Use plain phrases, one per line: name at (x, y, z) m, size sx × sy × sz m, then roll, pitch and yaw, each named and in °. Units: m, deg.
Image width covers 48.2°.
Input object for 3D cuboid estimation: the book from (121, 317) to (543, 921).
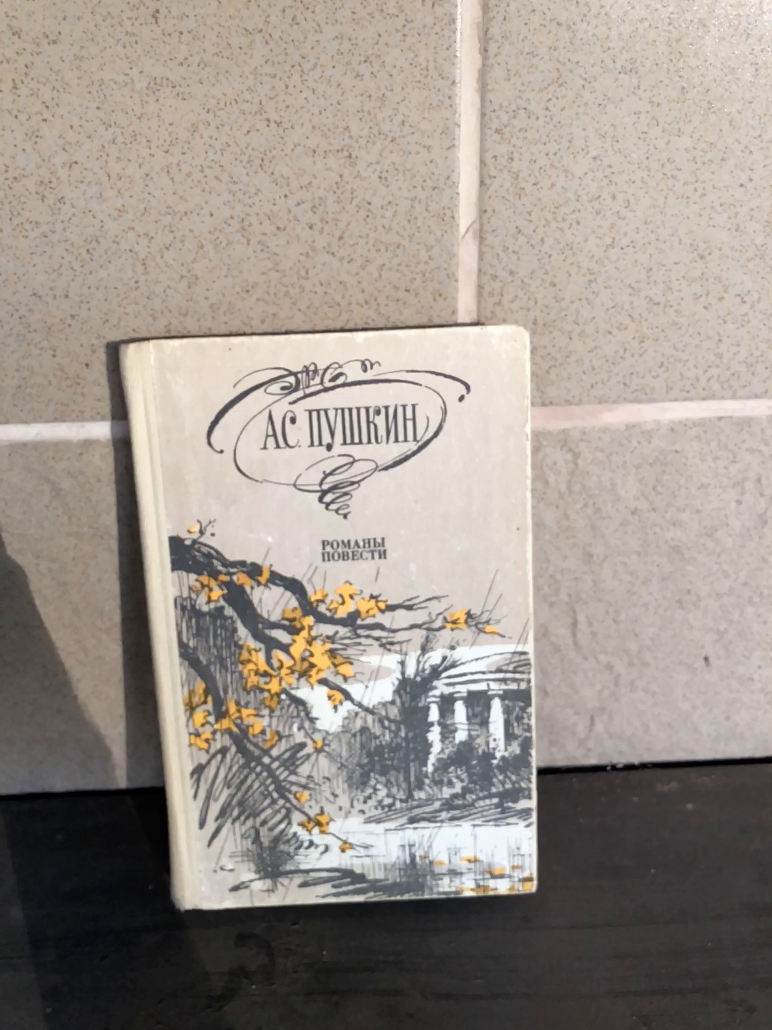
book at (-0.013, 0.036, 0.295) m, size 0.125 × 0.197 × 0.040 m, roll -2°, pitch 12°, yaw -1°
